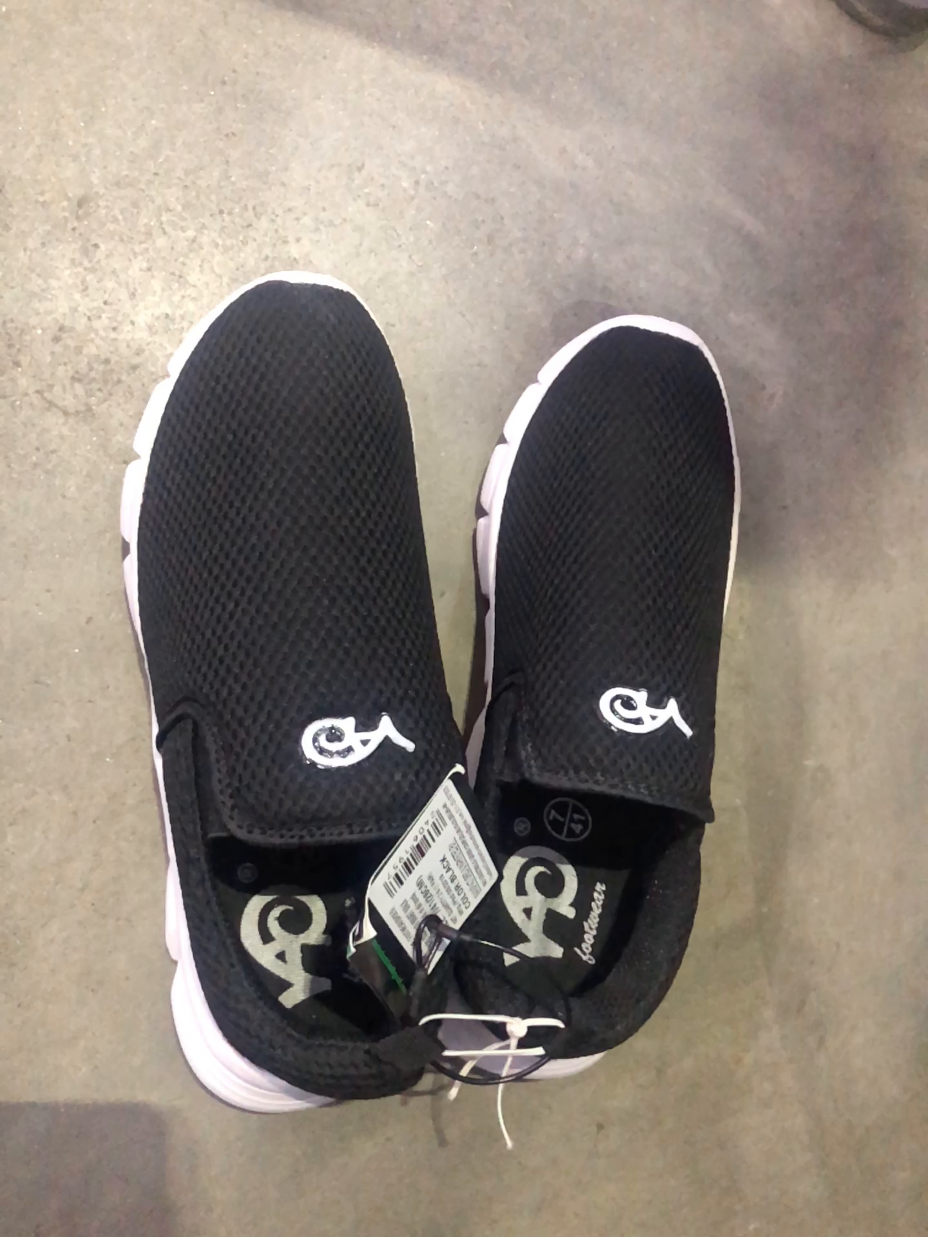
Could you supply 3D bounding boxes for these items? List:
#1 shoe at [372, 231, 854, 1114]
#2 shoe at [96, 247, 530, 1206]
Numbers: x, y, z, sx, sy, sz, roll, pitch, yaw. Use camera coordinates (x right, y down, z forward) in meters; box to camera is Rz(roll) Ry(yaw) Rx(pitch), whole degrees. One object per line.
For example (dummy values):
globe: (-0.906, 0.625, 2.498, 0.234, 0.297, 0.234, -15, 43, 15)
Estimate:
shoe: (0.051, 0.018, 0.382, 0.110, 0.100, 0.270, 12, 81, -9)
shoe: (-0.058, 0.027, 0.344, 0.110, 0.100, 0.260, -3, 86, -19)
